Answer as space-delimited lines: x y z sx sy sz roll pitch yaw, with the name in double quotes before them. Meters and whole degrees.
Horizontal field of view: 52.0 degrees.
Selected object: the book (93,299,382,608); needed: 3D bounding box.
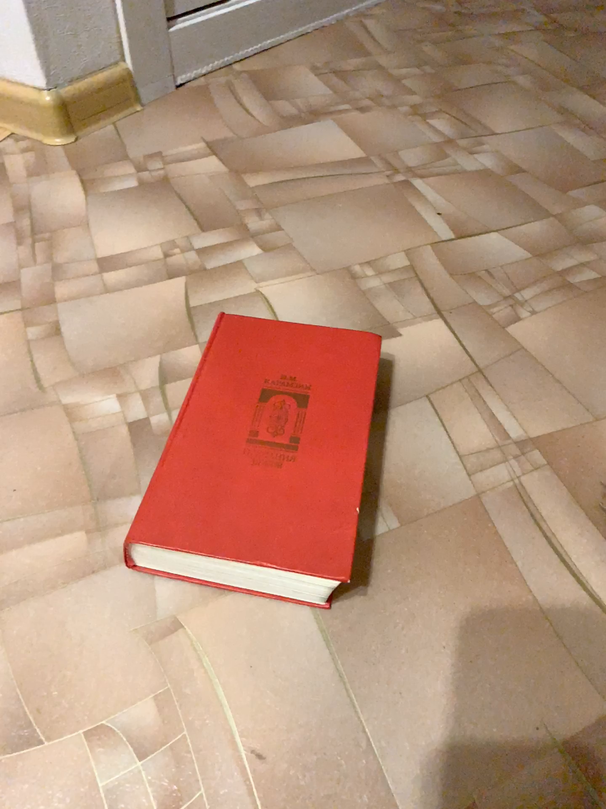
"book" -0.029 0.019 0.422 0.140 0.050 0.202 7 50 9
